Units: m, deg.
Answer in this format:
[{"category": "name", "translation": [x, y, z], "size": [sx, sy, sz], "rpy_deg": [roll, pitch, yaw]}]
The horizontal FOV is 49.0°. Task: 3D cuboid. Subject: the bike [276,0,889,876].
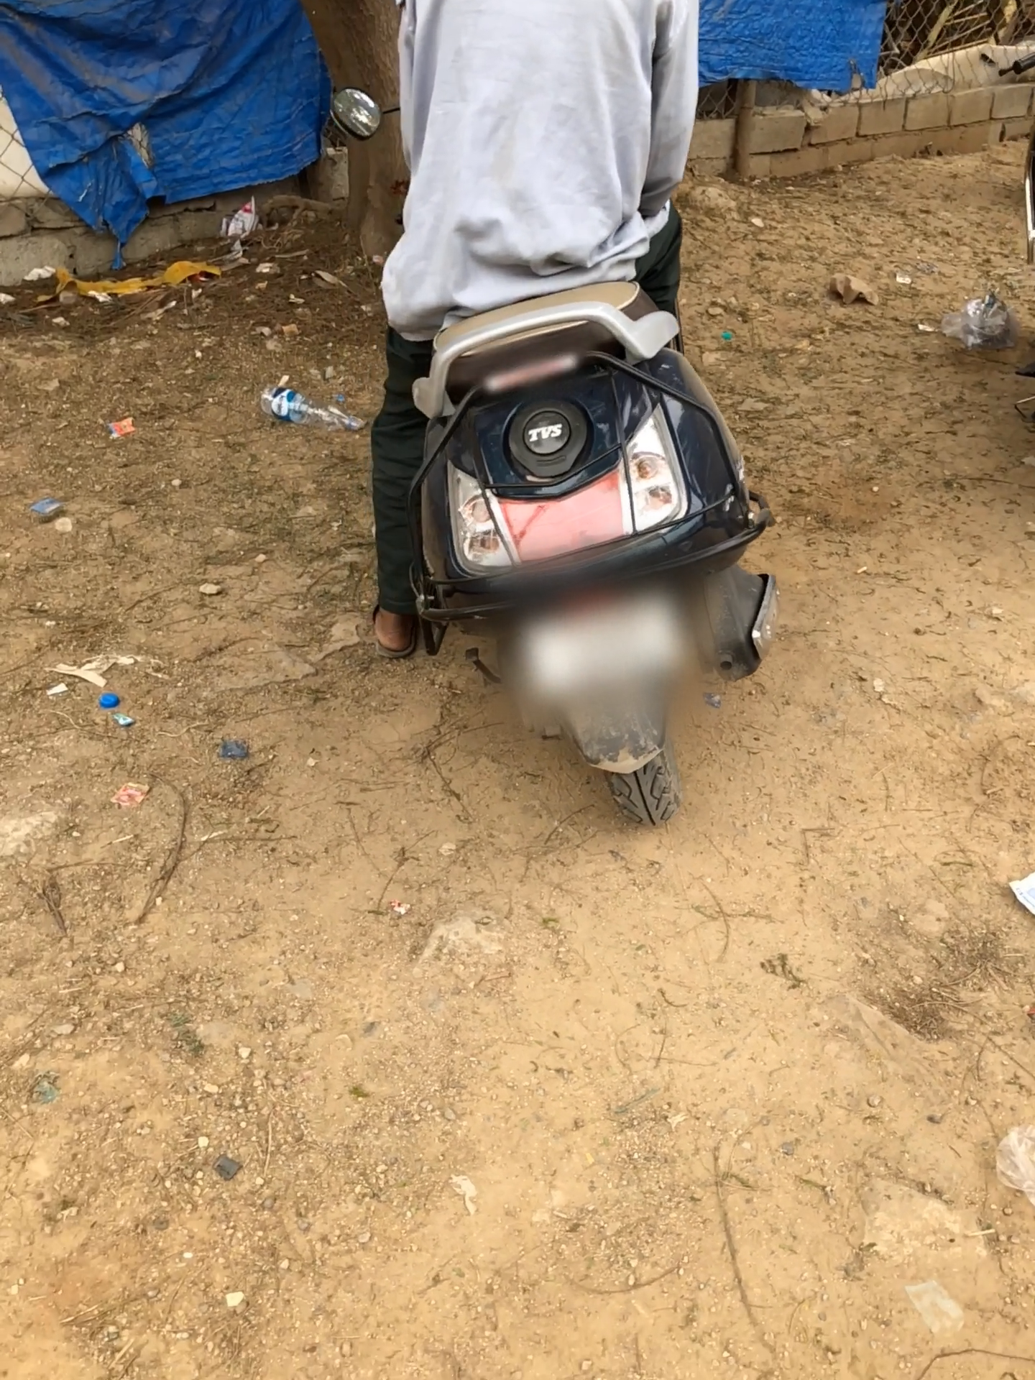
[{"category": "bike", "translation": [0.060, -0.692, 1.945], "size": [0.634, 1.119, 1.351], "rpy_deg": [0, 41, 0]}]
